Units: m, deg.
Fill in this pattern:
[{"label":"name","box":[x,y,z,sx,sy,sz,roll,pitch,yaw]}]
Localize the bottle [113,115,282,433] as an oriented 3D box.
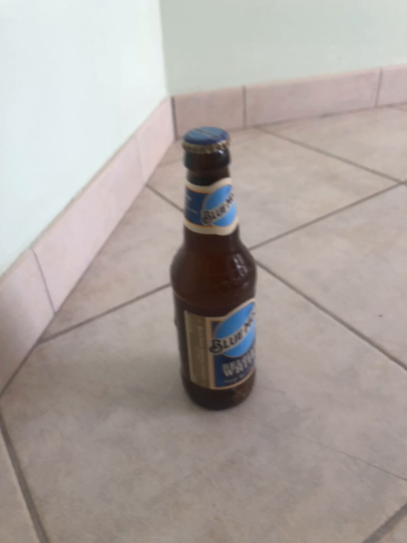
[{"label":"bottle","box":[0.001,0.009,0.327,0.070,0.209,0.070,-2,35,2]}]
